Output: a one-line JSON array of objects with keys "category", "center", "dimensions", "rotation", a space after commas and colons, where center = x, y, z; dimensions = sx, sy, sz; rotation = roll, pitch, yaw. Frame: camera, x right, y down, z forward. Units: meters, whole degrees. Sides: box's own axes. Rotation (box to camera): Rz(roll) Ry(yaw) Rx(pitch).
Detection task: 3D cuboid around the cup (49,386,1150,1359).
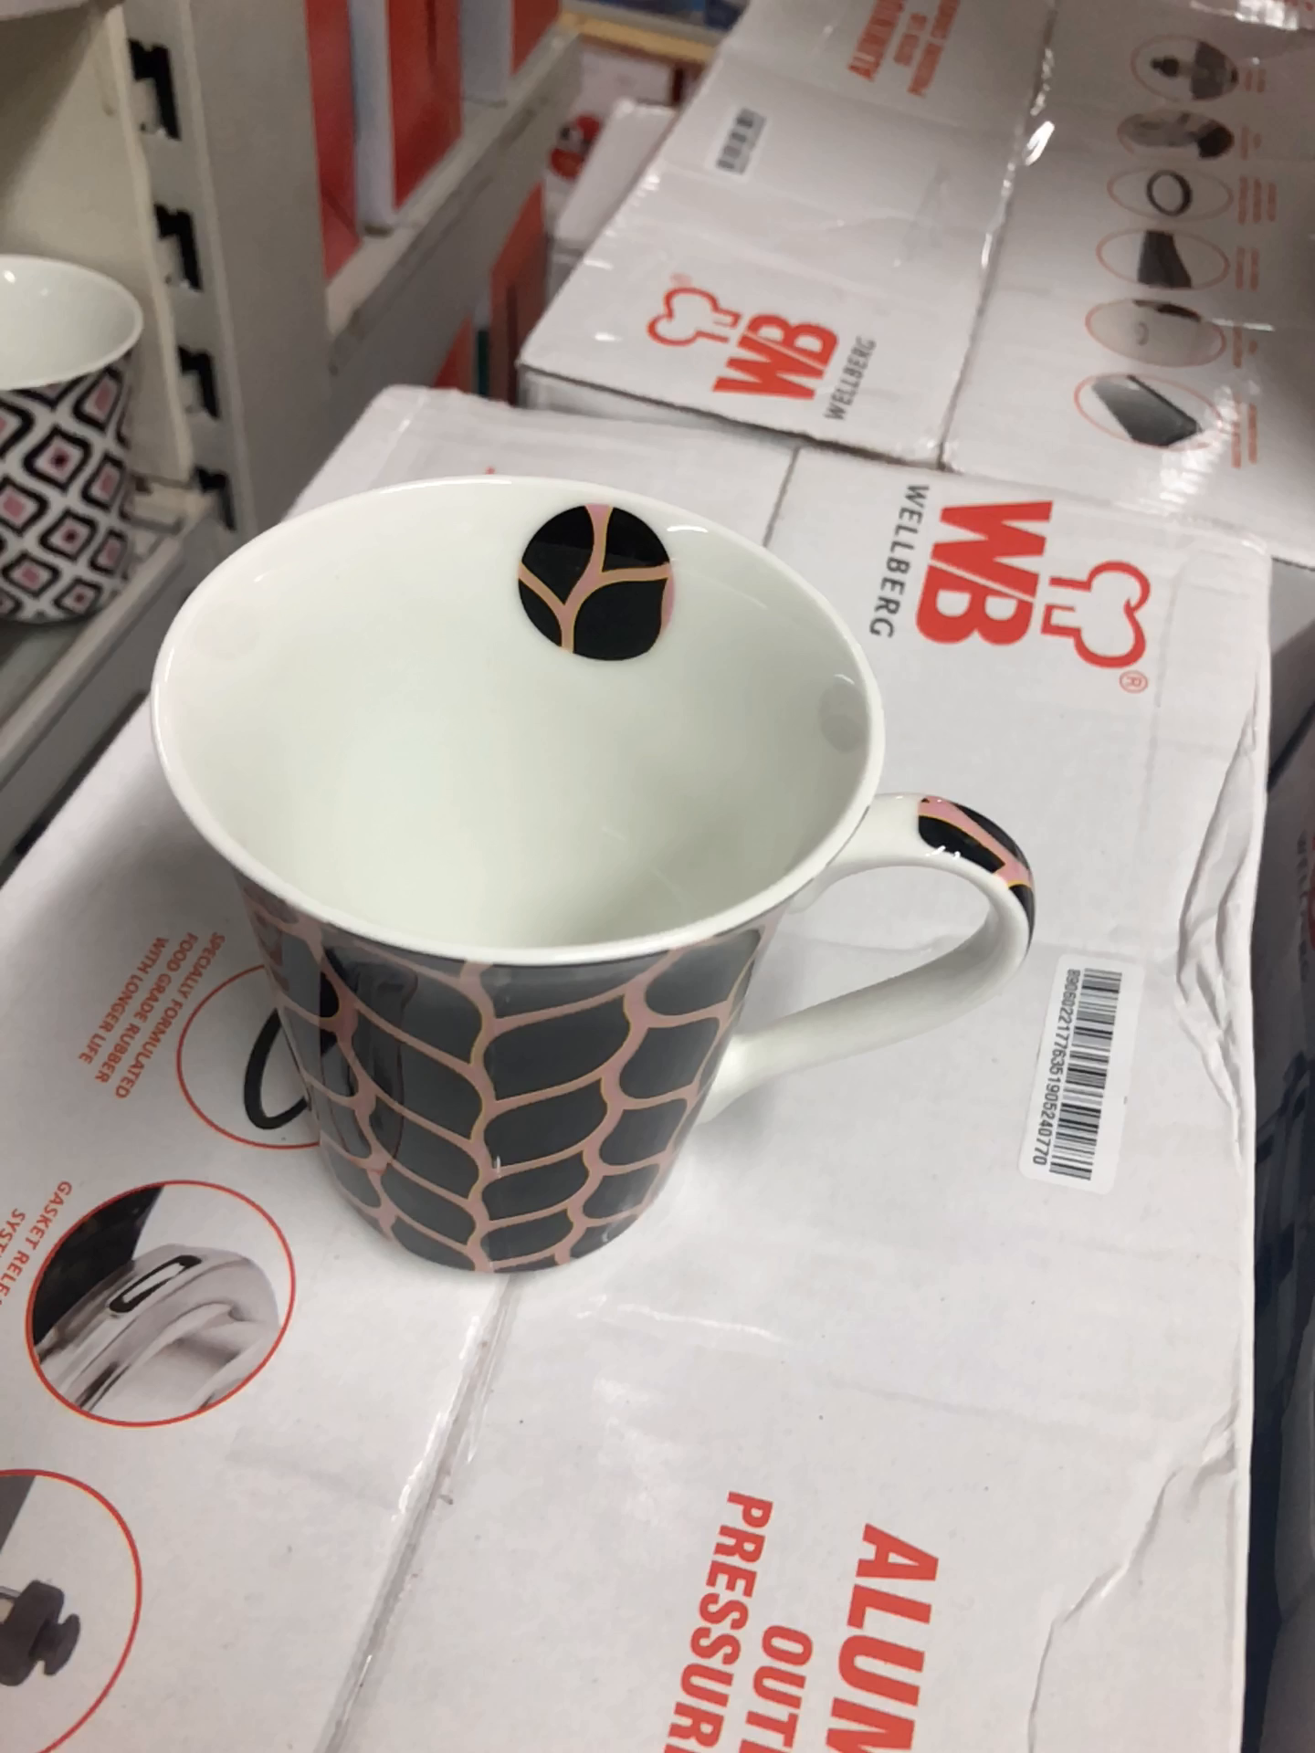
[{"category": "cup", "center": [-0.007, 0.004, 0.210], "dimensions": [0.110, 0.099, 0.080], "rotation": [8, 50, -1]}]
